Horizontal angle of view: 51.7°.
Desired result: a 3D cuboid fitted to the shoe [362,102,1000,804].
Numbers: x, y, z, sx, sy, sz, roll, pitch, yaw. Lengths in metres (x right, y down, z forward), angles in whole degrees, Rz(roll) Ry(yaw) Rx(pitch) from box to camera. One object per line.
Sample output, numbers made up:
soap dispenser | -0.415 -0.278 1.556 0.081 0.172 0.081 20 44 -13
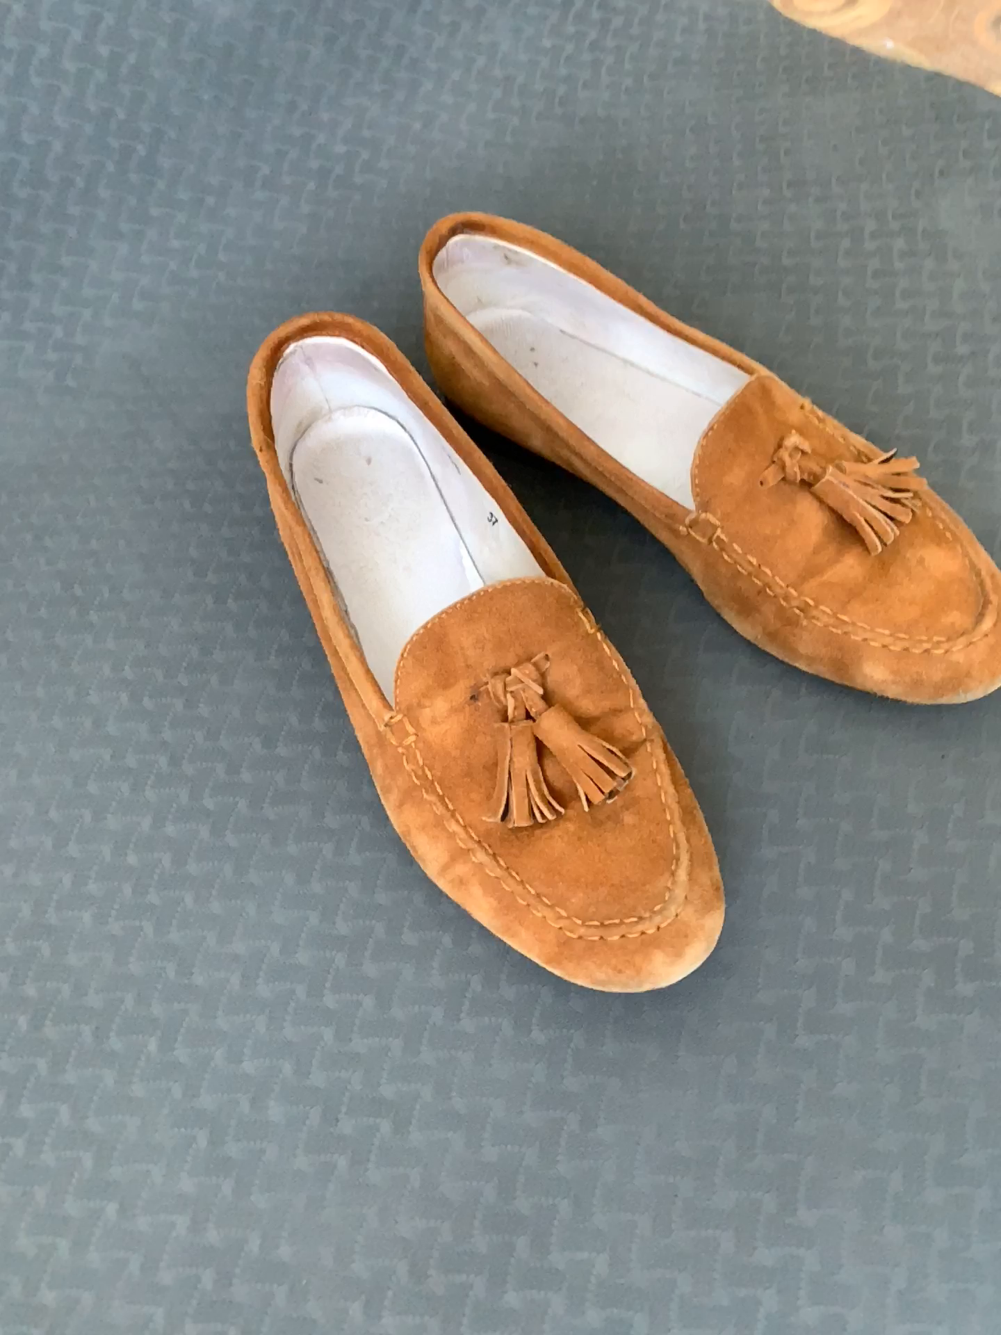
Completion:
shoe | 0.075 -0.078 0.349 0.240 0.090 0.090 40 74 21

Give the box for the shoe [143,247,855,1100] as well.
shoe | -0.011 -0.004 0.313 0.090 0.090 0.231 -28 65 -8
